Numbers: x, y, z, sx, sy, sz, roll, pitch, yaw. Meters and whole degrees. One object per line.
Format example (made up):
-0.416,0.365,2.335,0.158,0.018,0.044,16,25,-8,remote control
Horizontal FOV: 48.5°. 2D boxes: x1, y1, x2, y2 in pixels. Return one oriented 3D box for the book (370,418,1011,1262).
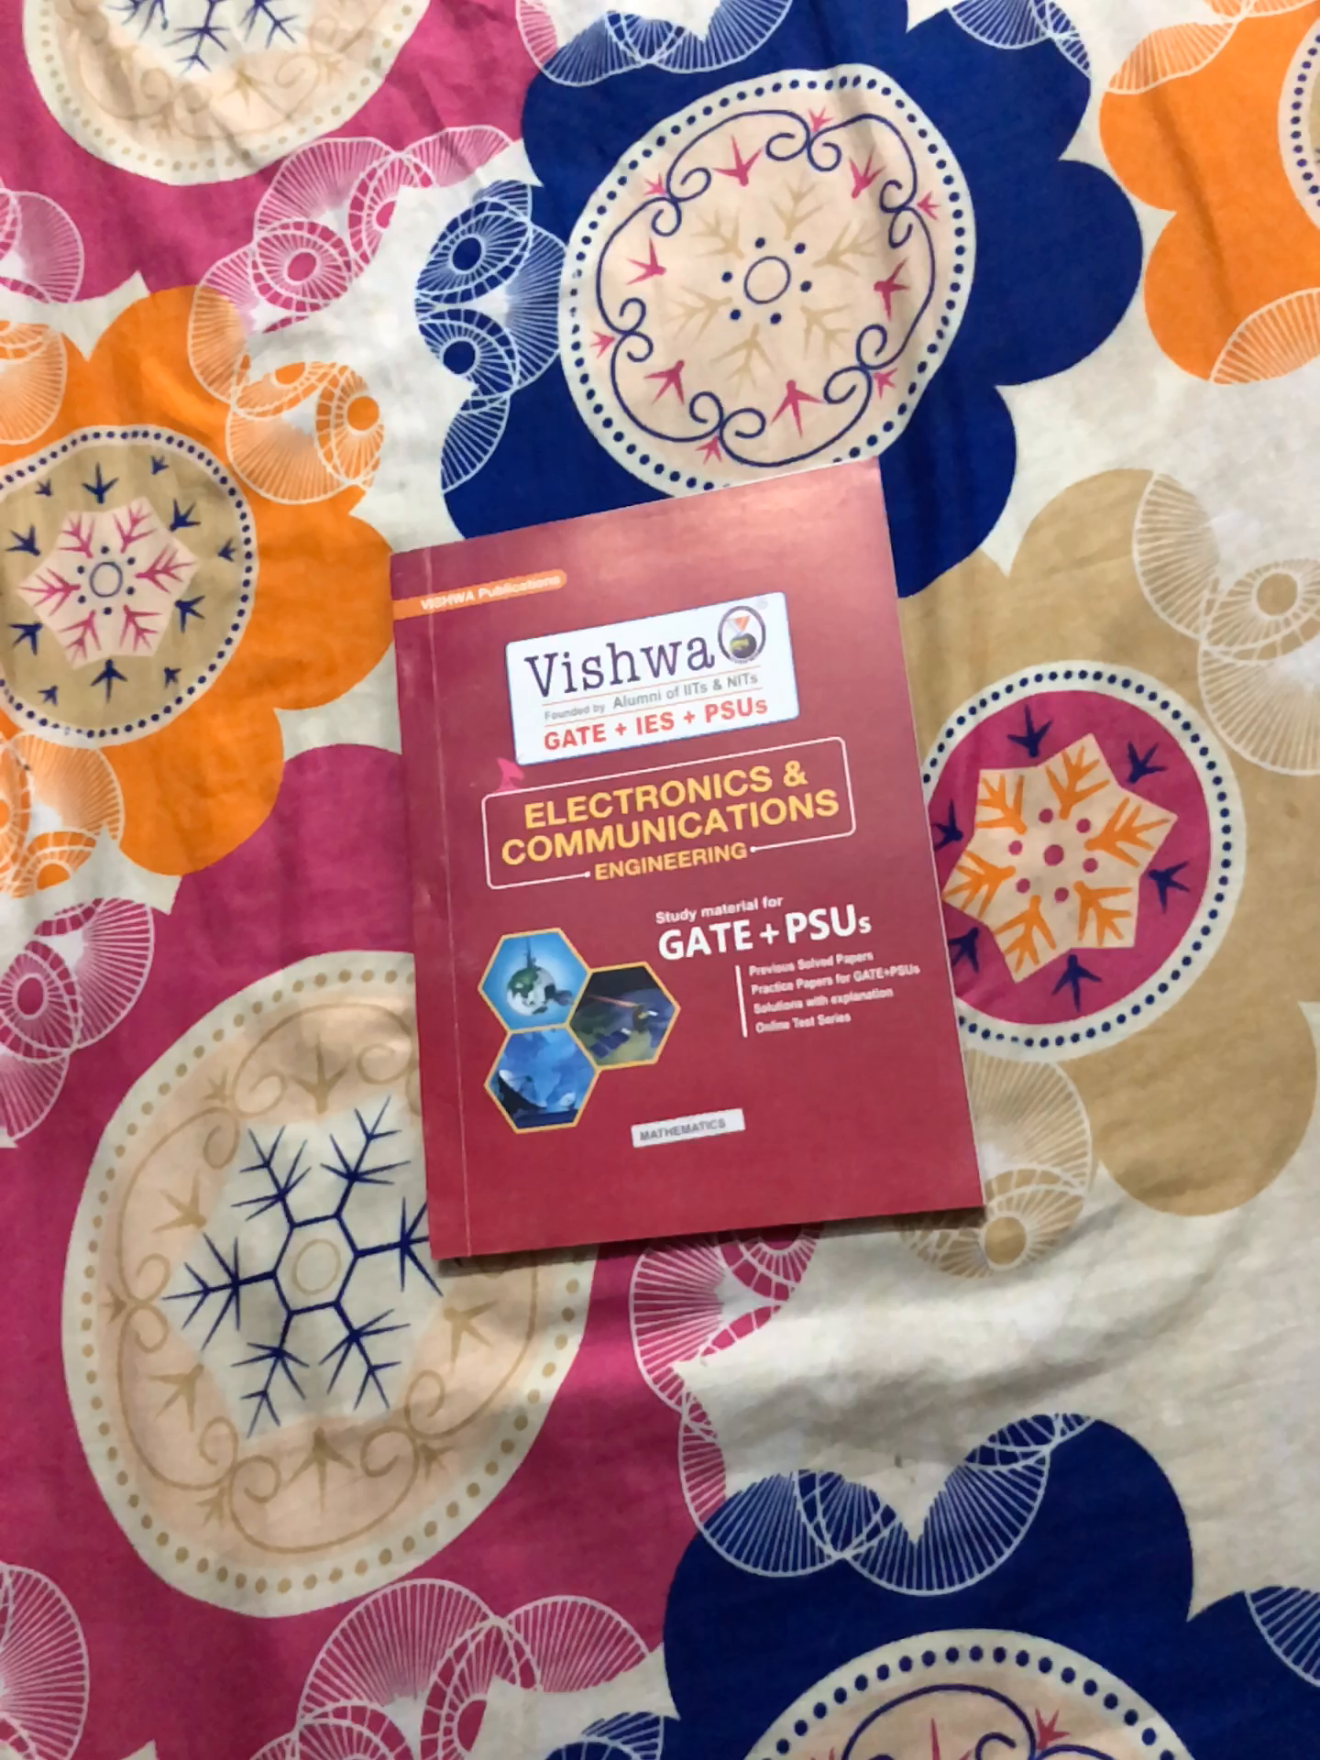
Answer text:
0.002,-0.017,0.566,0.217,0.030,0.300,-8,76,10,book
